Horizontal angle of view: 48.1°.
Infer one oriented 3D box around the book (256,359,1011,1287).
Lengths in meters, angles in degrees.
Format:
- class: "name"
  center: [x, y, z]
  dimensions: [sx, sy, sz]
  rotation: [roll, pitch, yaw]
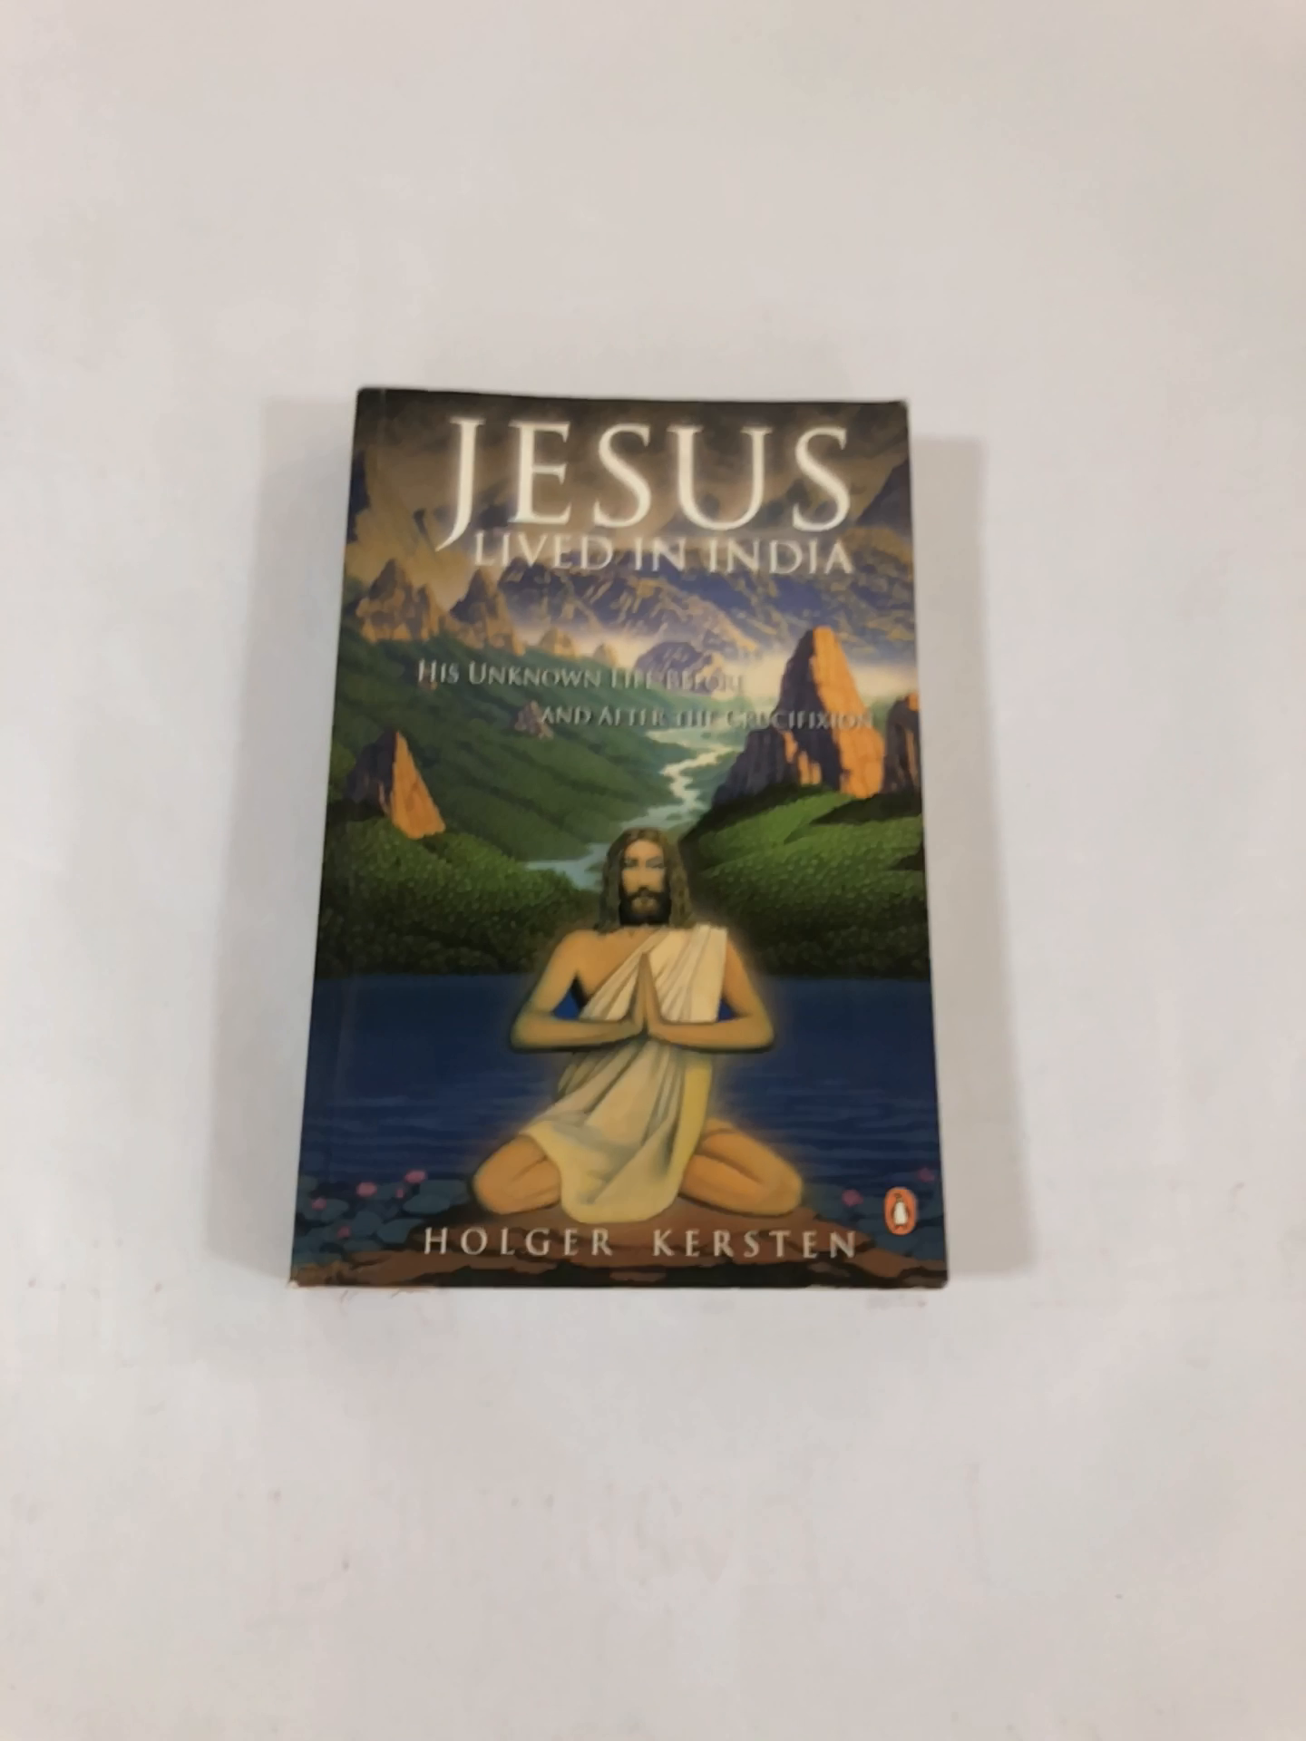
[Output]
- class: "book"
  center: [-0.003, -0.015, 0.335]
  dimensions: [0.150, 0.030, 0.210]
  rotation: [1, 74, -2]
